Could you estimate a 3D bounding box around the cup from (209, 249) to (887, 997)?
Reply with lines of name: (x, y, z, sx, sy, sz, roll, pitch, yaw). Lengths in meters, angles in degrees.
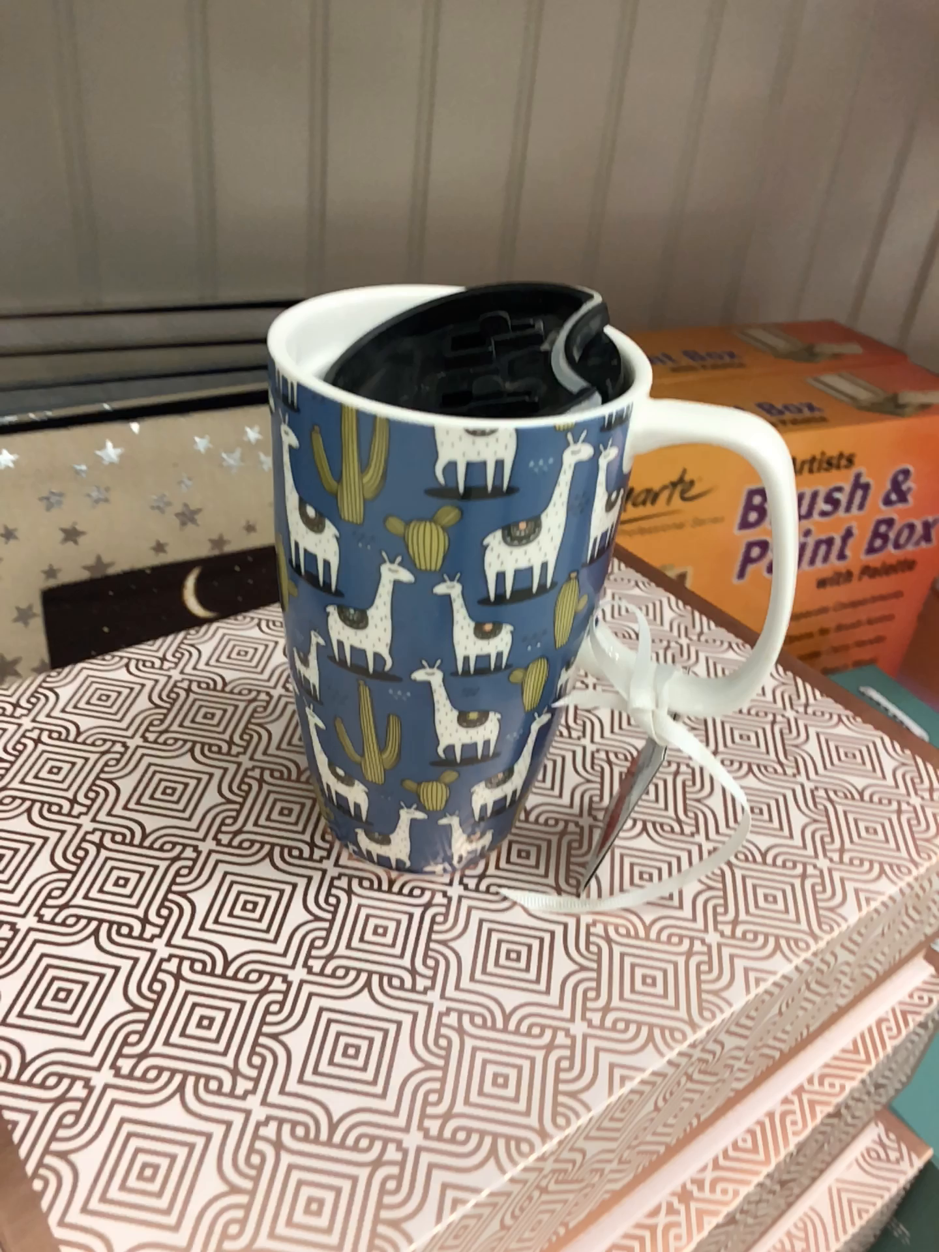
cup: (0.016, -0.004, 0.262, 0.125, 0.138, 0.090, 12, 34, 10)
